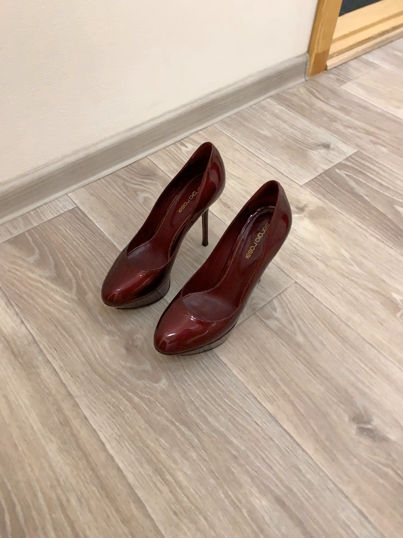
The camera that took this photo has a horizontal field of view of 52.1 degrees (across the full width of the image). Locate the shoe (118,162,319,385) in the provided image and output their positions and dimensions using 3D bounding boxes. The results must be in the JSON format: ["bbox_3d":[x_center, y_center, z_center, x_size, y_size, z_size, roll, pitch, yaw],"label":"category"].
[{"bbox_3d":[0.023,0.002,0.476,0.087,0.149,0.211,37,58,25],"label":"shoe"}]

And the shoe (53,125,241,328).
[{"bbox_3d":[-0.056,-0.057,0.525,0.087,0.149,0.211,34,57,23],"label":"shoe"}]
